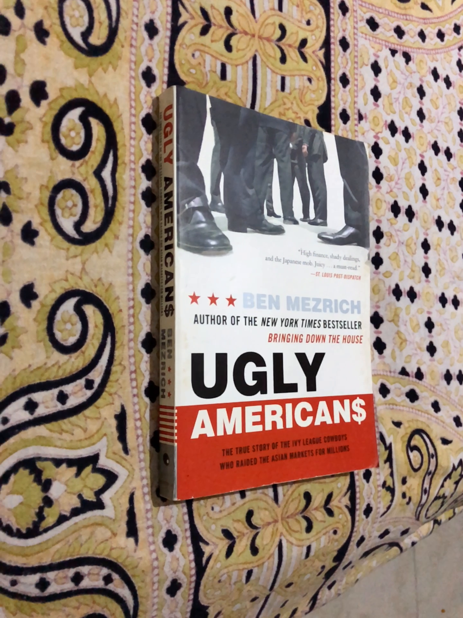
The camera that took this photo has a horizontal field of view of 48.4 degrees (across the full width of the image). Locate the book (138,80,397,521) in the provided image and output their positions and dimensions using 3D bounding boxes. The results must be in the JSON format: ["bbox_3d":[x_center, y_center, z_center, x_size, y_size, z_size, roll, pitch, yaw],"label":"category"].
[{"bbox_3d":[0.024,-0.003,0.270,0.141,0.030,0.190,3,85,-31],"label":"book"}]
